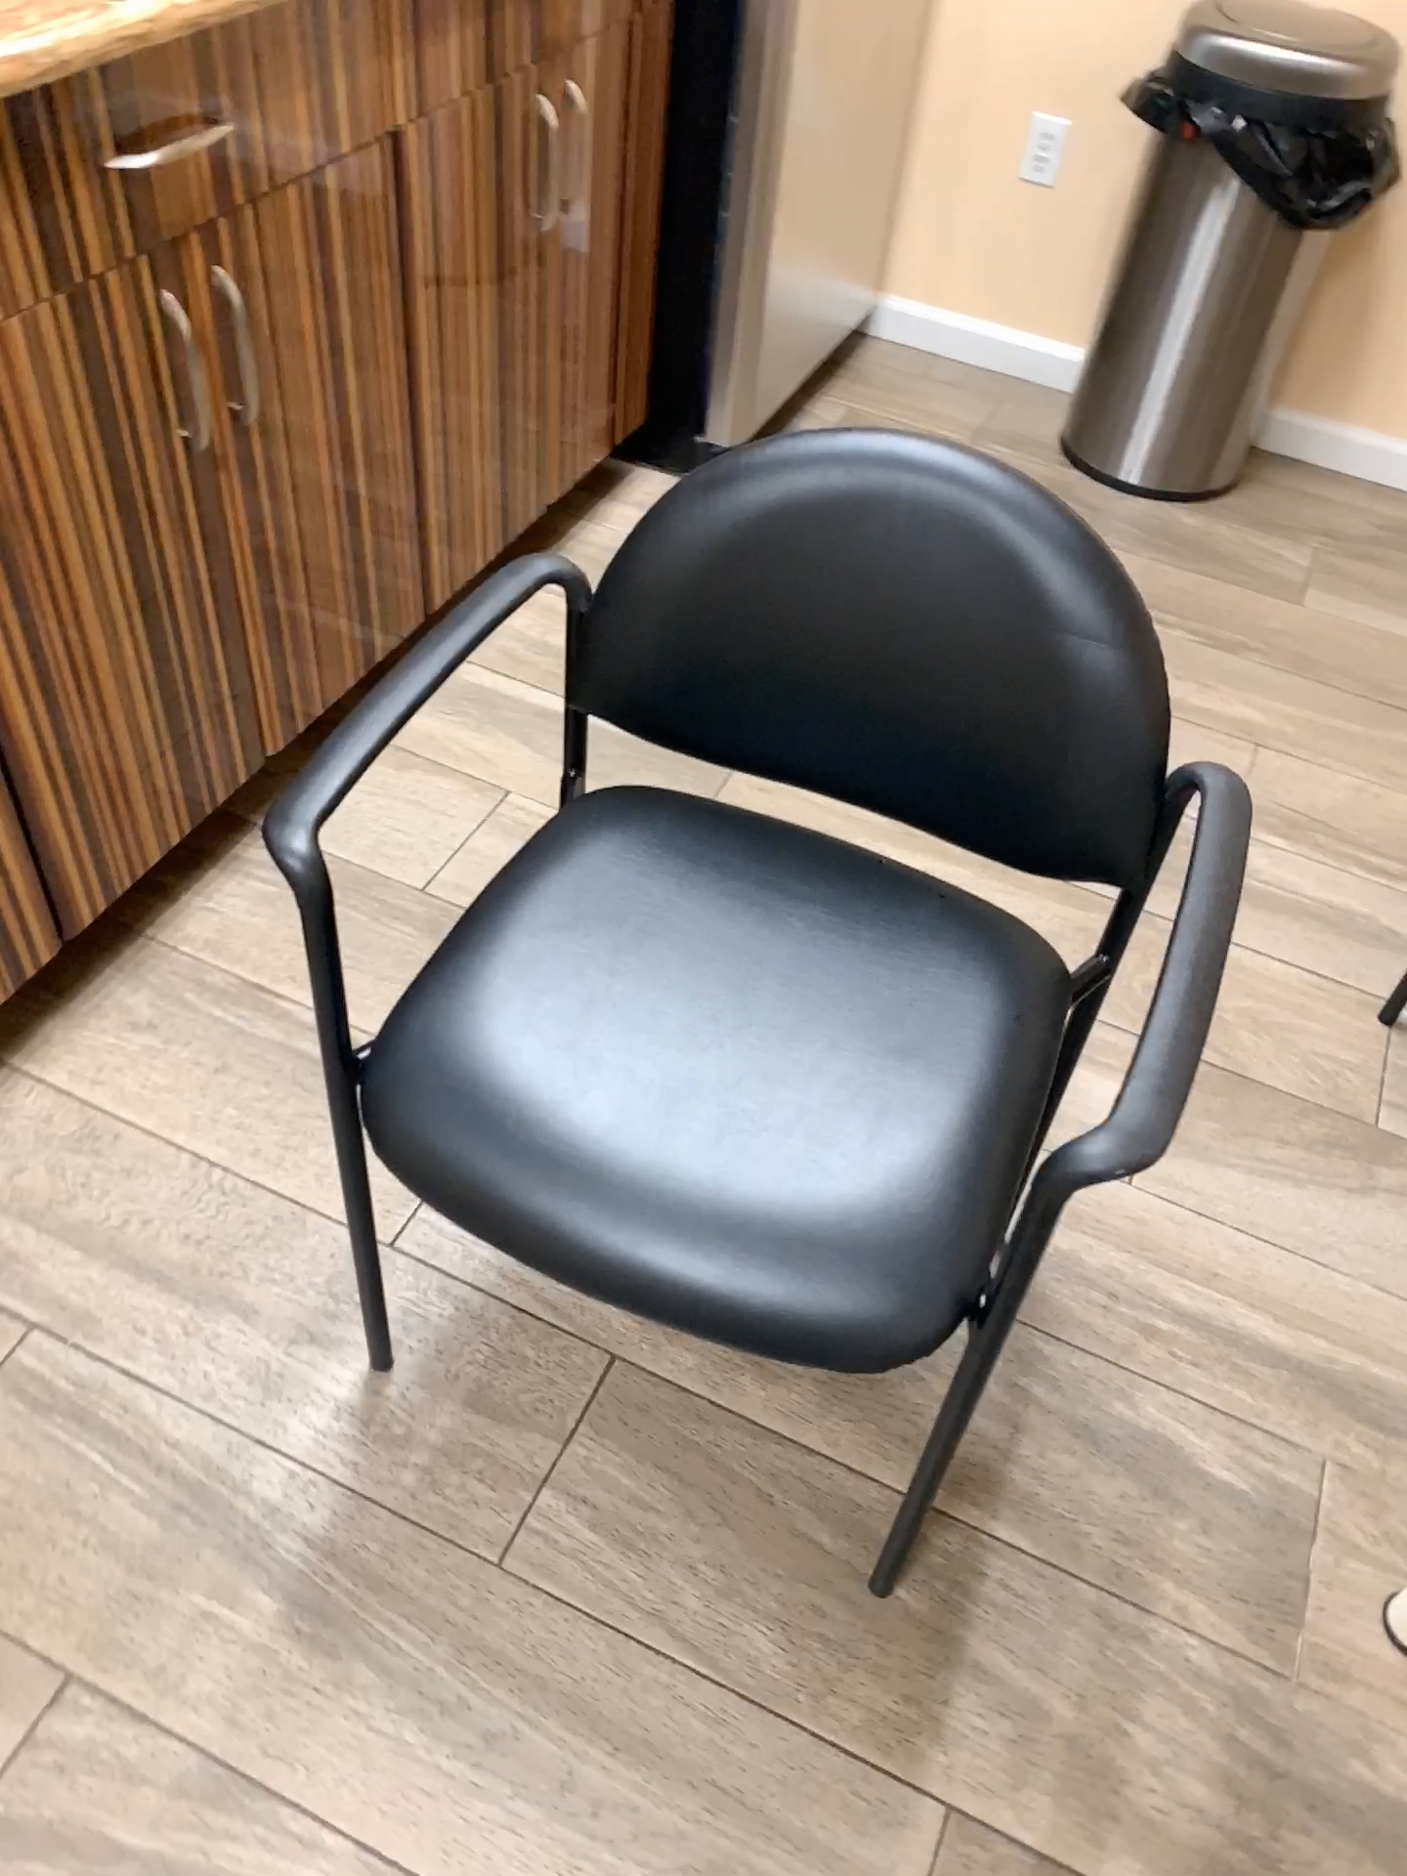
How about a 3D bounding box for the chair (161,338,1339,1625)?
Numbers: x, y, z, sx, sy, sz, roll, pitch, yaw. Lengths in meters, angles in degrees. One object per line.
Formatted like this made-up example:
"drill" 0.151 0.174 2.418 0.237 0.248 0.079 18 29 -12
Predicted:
"chair" 0.042 0.052 1.146 0.590 0.736 0.523 20 47 11
